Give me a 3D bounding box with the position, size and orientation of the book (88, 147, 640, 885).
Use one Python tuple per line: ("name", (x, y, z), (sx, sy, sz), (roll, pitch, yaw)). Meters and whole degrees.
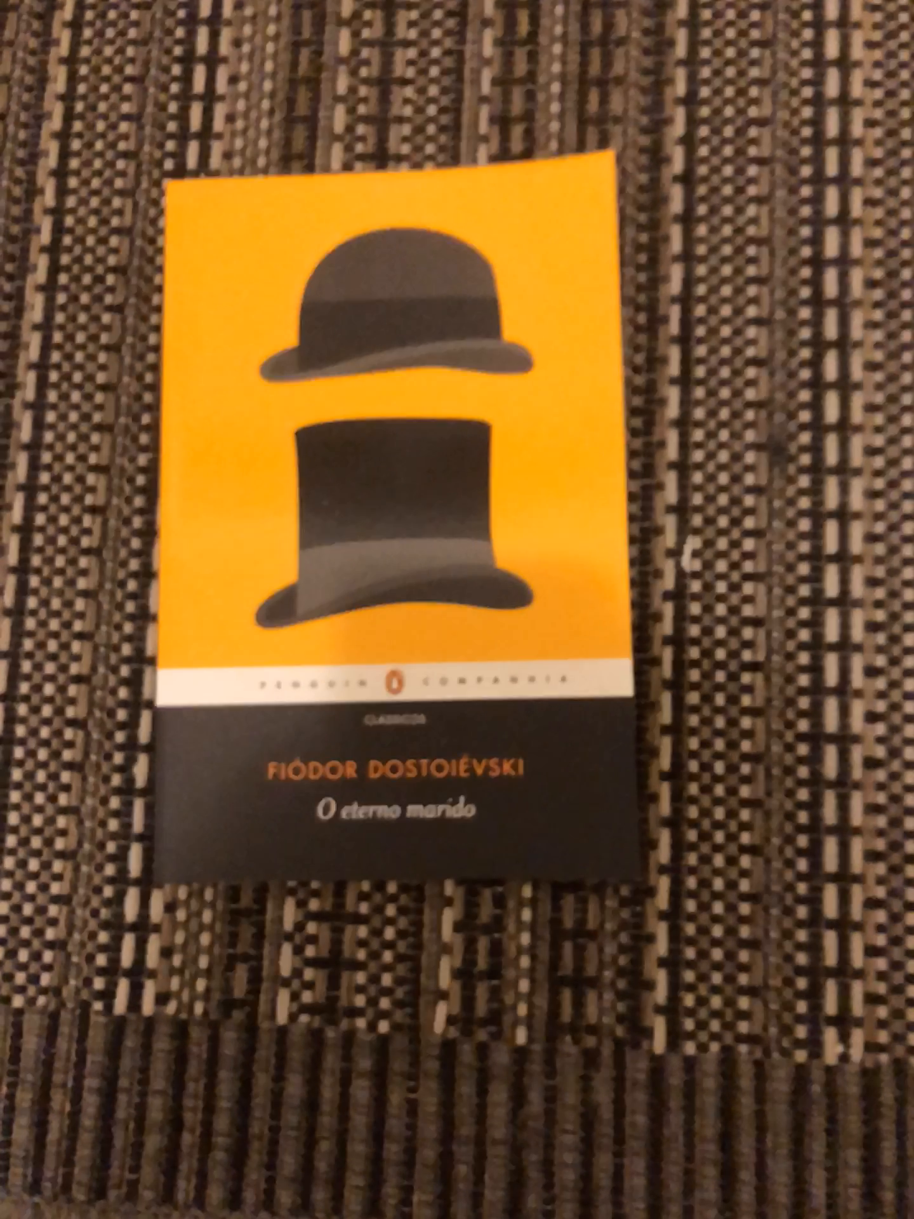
("book", (-0.024, -0.024, 0.262), (0.130, 0.020, 0.180), (-2, 83, 4))
